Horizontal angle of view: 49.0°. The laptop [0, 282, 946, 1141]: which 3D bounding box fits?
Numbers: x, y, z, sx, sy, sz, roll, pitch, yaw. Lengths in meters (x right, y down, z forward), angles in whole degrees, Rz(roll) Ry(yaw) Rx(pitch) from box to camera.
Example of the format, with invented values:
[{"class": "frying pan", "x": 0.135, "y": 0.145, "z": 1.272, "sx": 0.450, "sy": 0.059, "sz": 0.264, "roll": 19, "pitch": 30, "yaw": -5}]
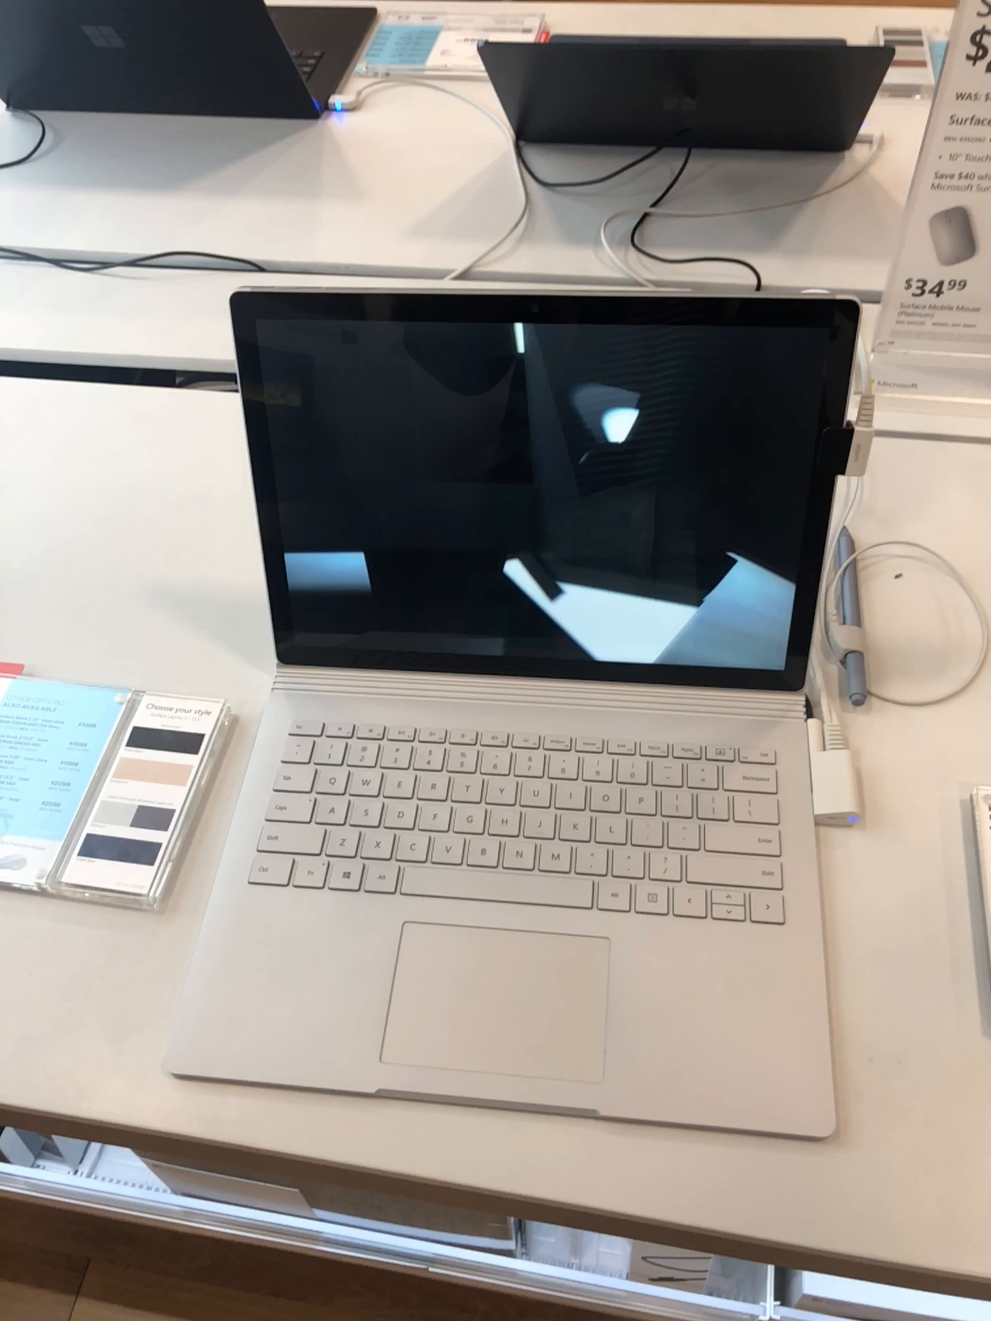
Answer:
[{"class": "laptop", "x": 0.004, "y": 0.010, "z": 0.493, "sx": 0.291, "sy": 0.191, "sz": 0.312, "roll": 3, "pitch": 53, "yaw": 6}]
